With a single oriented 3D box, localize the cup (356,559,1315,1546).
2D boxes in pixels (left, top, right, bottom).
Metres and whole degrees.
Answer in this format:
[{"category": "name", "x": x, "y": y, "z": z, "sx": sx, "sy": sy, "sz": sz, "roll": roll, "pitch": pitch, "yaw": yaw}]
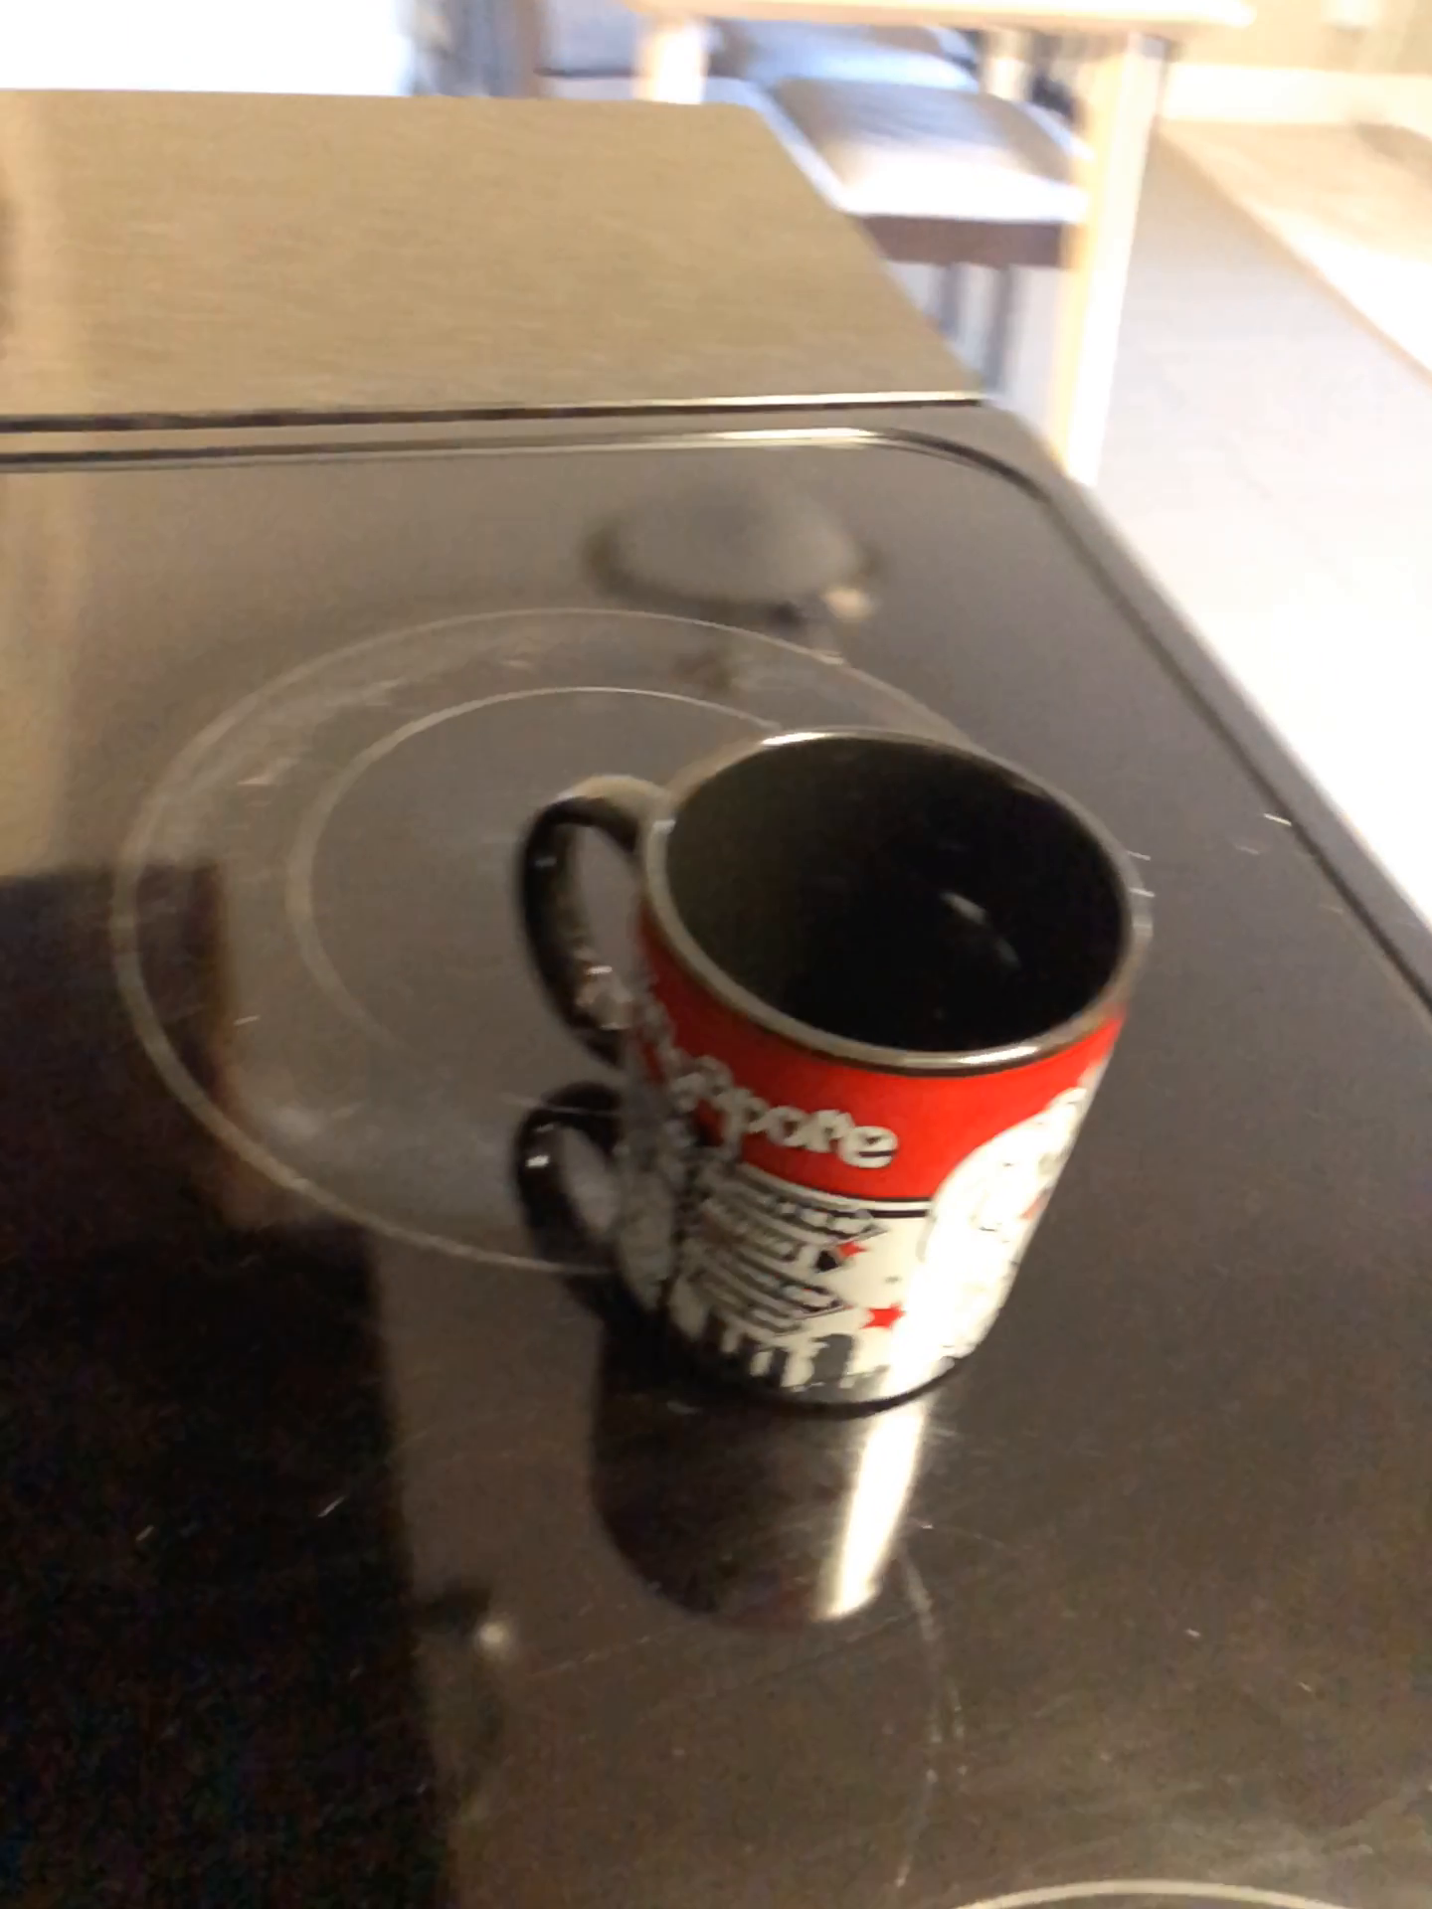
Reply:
[{"category": "cup", "x": 0.012, "y": 0.010, "z": 0.288, "sx": 0.090, "sy": 0.090, "sz": 0.130, "roll": -29, "pitch": 55, "yaw": -33}]
